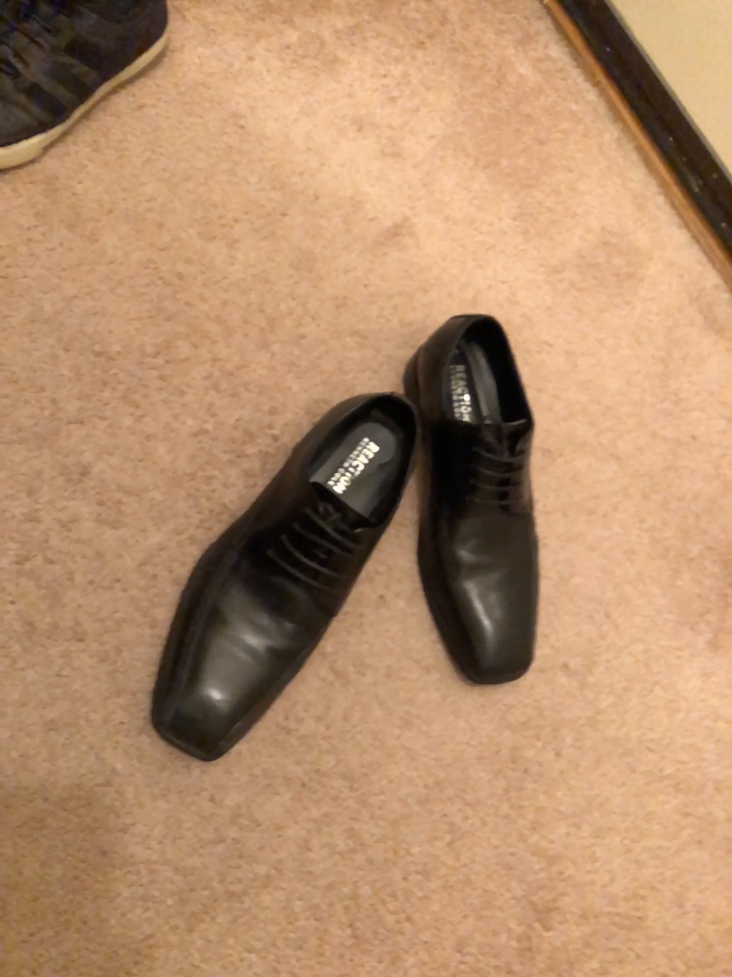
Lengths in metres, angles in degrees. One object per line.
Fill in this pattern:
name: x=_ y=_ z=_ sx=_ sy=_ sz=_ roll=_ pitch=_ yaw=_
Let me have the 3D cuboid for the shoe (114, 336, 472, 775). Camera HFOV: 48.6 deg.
shoe: x=-0.049 y=0.046 z=0.587 sx=0.110 sy=0.108 sz=0.284 roll=34 pitch=65 yaw=-7

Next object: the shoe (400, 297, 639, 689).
shoe: x=0.117 y=0.006 z=0.672 sx=0.115 sy=0.110 sz=0.297 roll=0 pitch=73 yaw=-19
